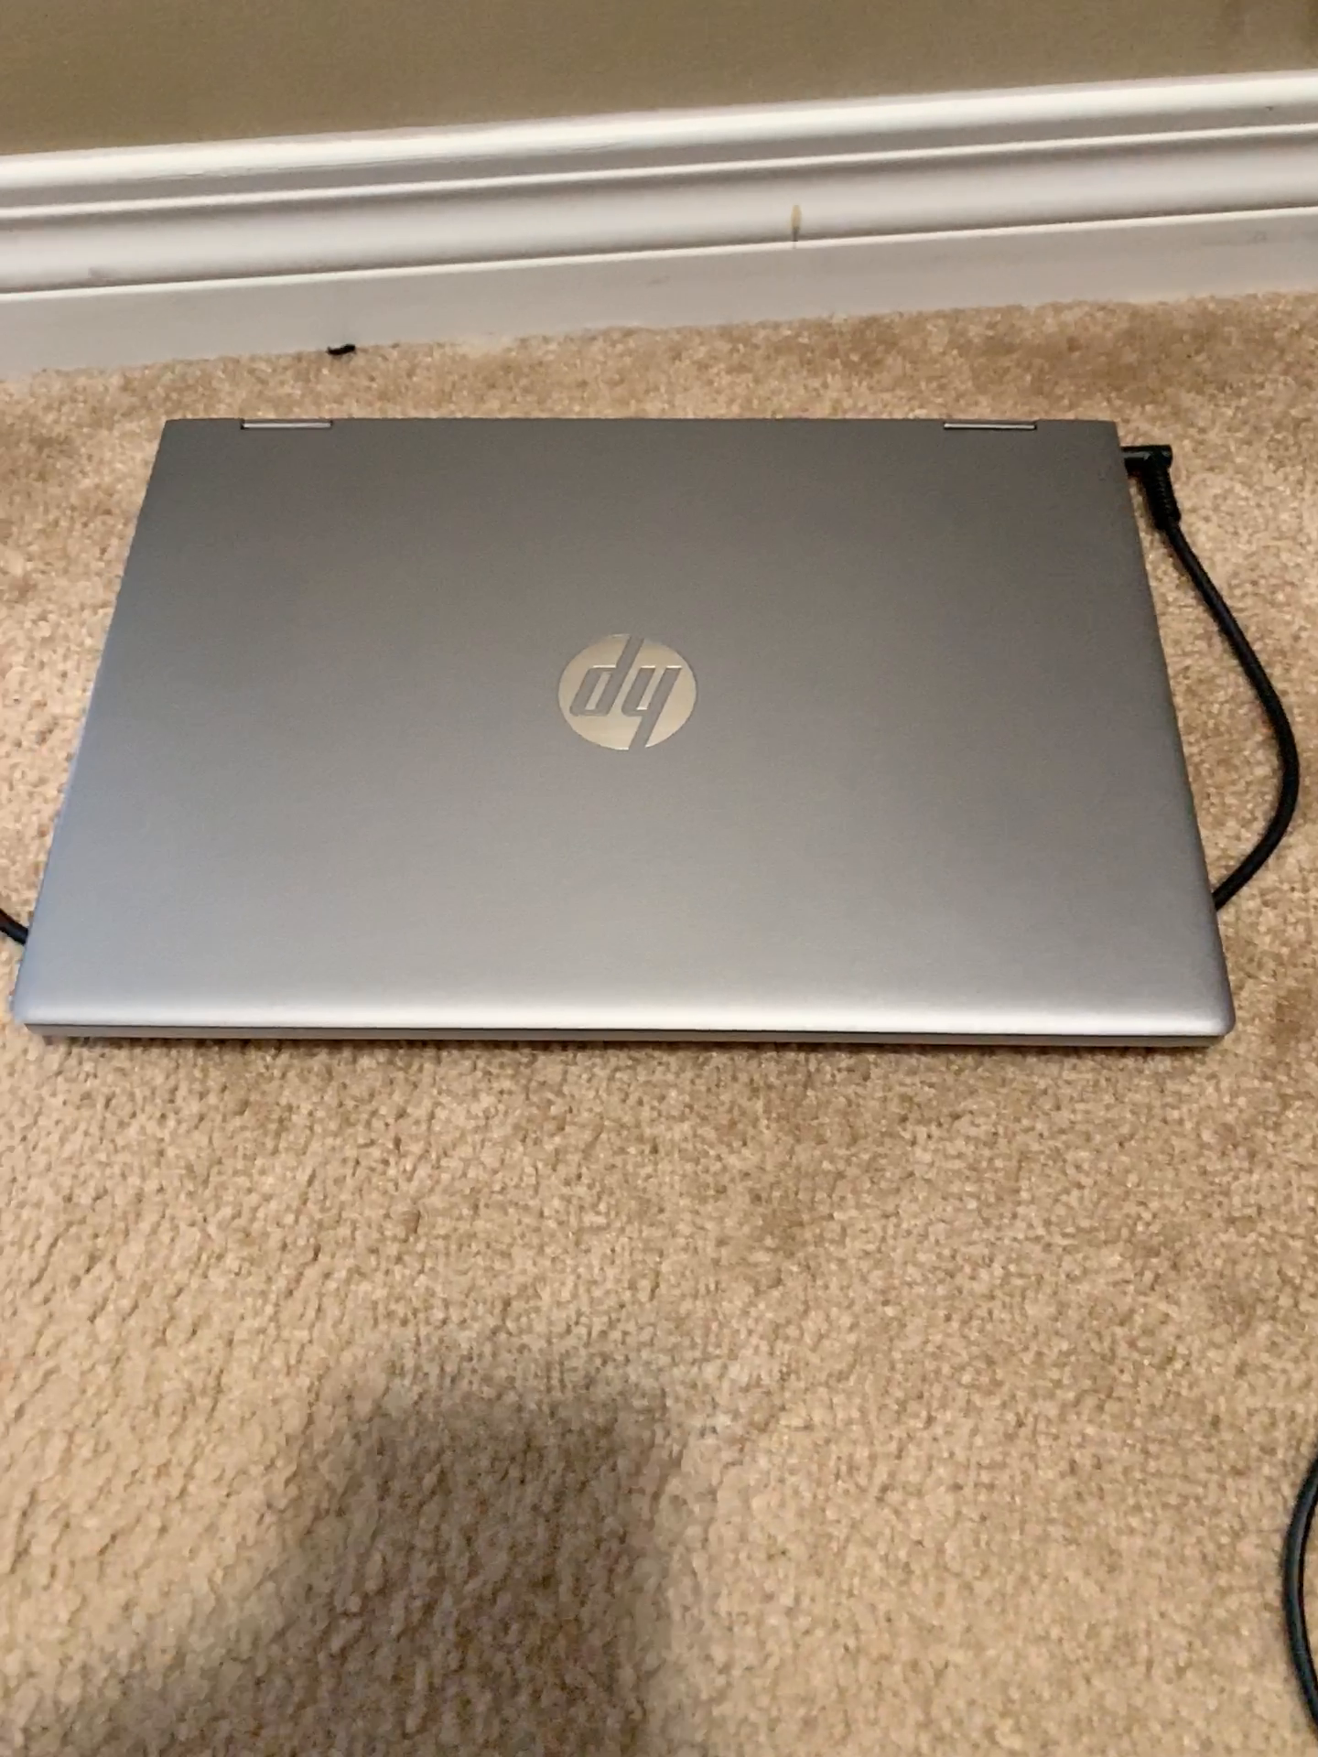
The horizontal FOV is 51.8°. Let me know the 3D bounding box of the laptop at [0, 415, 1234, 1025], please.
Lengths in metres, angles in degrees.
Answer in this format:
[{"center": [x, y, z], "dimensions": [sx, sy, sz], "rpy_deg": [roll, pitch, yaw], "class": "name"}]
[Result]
[{"center": [-0.008, -0.059, 0.405], "dimensions": [0.319, 0.001, 0.222], "rpy_deg": [1, 61, -1], "class": "laptop"}]
